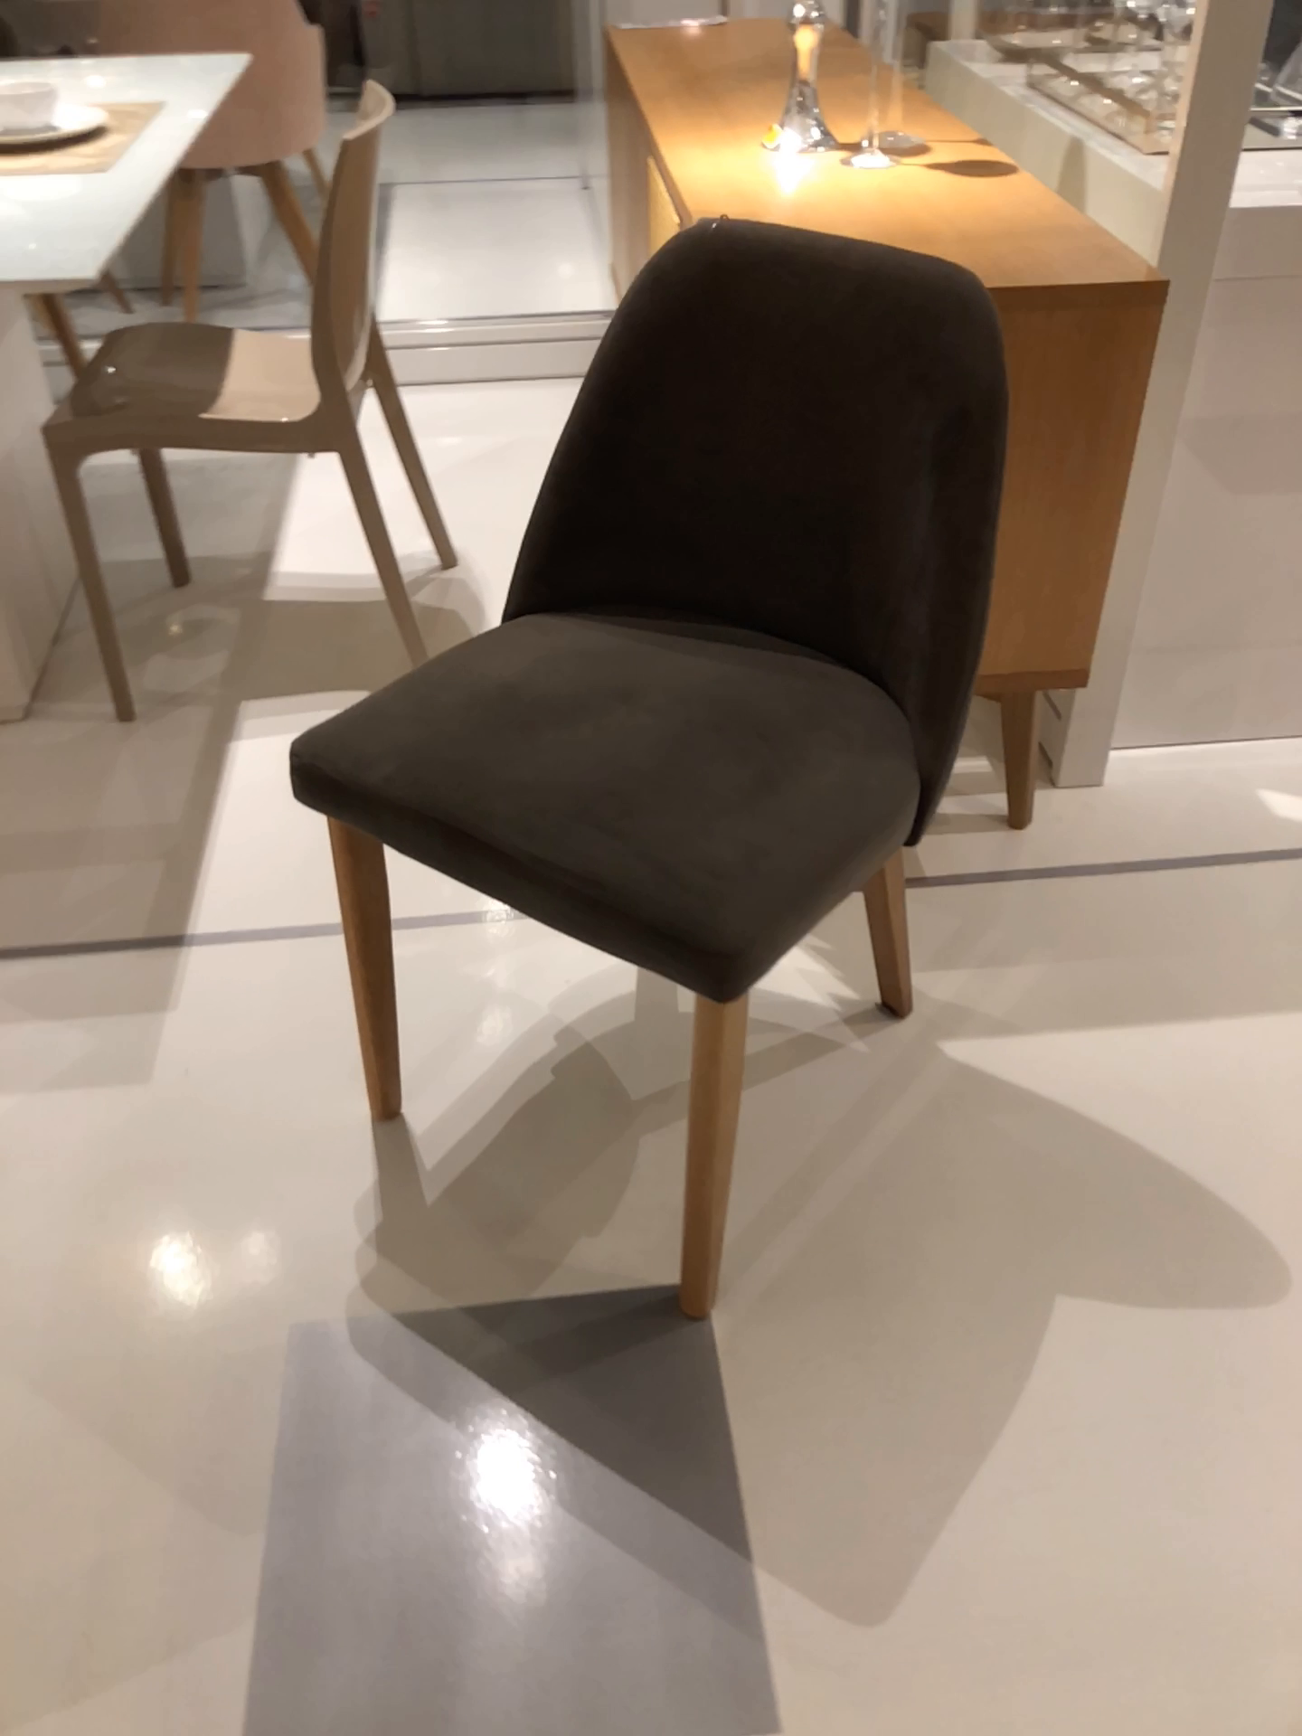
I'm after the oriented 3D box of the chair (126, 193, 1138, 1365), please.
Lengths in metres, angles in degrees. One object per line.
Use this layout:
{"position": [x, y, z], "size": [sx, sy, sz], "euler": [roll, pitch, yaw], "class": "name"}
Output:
{"position": [0.010, -0.112, 1.303], "size": [0.531, 0.774, 0.563], "euler": [24, 44, 29], "class": "chair"}
